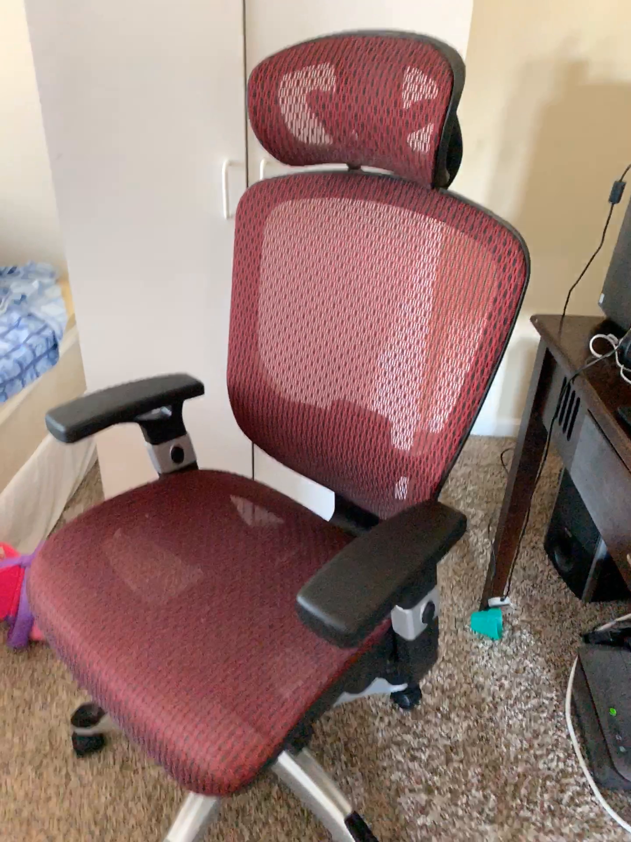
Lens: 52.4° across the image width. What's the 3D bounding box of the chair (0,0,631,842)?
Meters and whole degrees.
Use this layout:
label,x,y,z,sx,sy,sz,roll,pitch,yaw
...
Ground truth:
label,x,y,z,sx,sy,sz,roll,pitch,yaw
chair,-0.033,0.121,0.898,0.812,1.155,0.732,-25,39,-37
